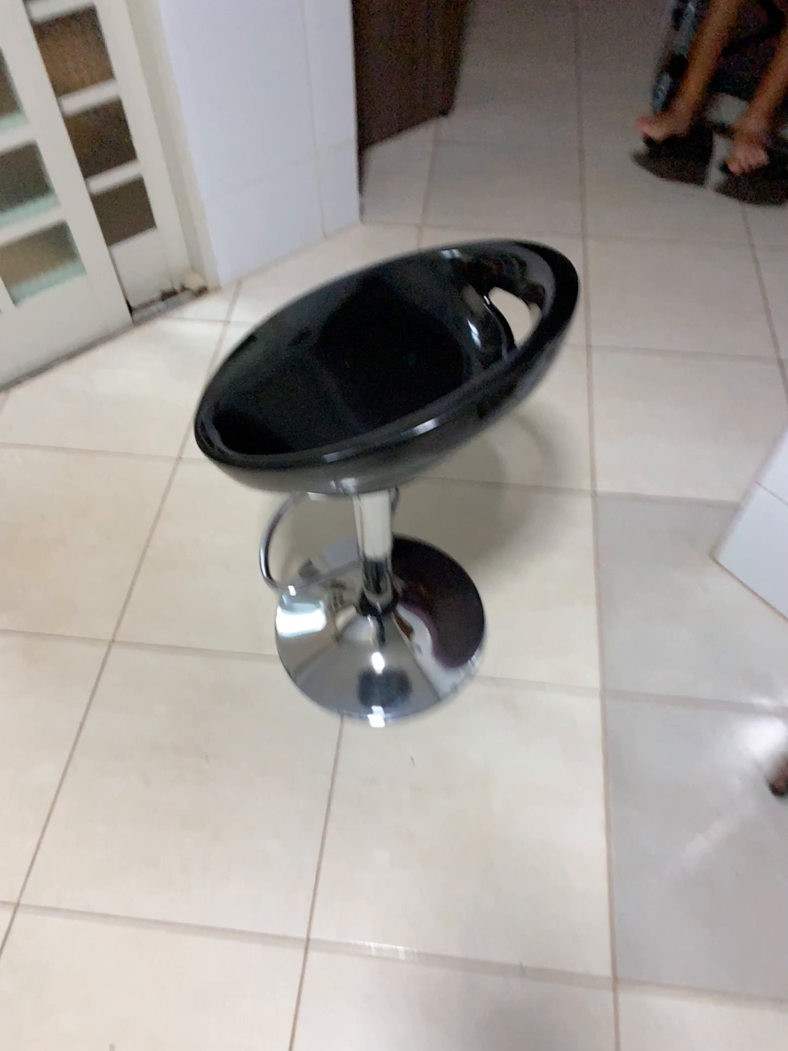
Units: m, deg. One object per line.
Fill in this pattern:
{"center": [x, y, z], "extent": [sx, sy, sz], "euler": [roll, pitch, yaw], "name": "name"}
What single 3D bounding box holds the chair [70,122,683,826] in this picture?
{"center": [-0.012, -0.015, 1.150], "extent": [0.444, 0.814, 0.454], "euler": [36, 61, 24], "name": "chair"}
